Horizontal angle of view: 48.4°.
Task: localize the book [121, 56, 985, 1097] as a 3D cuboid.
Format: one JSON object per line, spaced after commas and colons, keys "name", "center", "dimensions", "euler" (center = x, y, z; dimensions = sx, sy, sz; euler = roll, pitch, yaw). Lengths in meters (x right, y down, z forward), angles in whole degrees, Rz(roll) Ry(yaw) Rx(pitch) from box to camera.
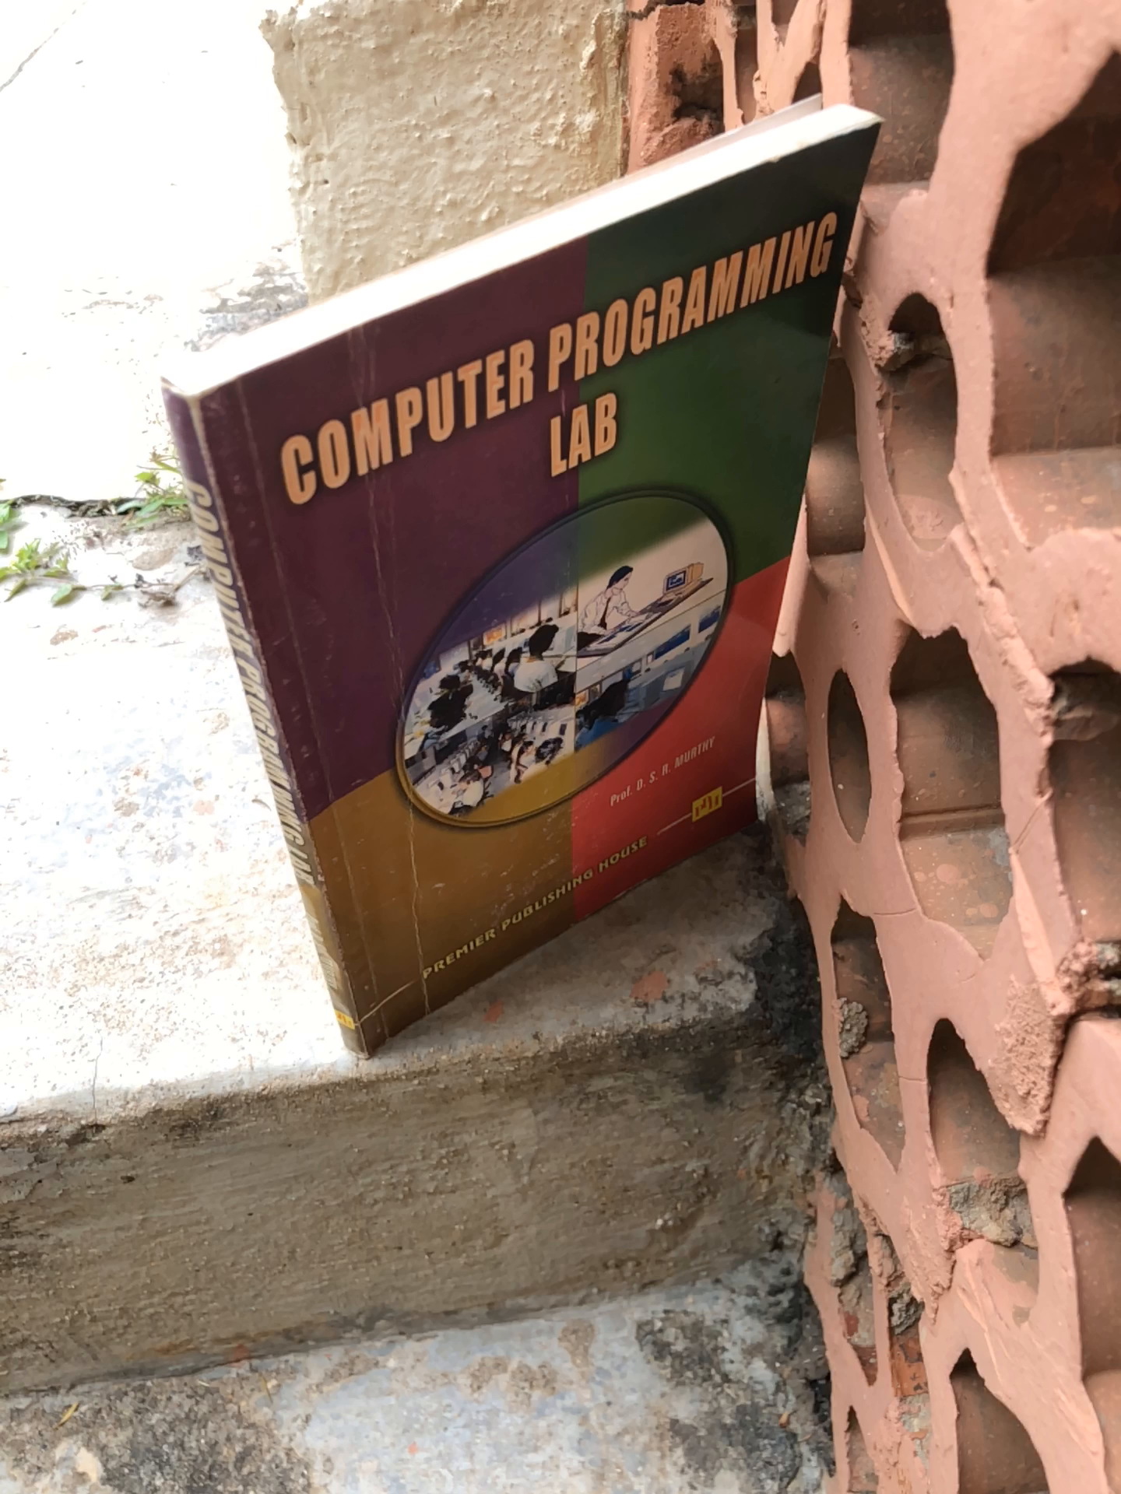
{"name": "book", "center": [0.006, -0.020, 0.320], "dimensions": [0.180, 0.249, 0.020], "euler": [-31, 59, -24]}
